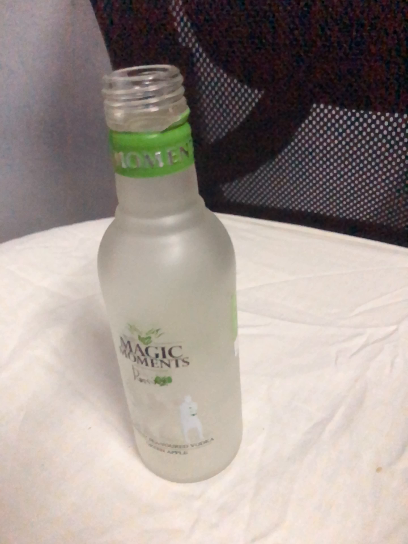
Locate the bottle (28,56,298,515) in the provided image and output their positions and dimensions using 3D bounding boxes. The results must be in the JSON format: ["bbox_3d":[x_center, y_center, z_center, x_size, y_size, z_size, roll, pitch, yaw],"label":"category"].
[{"bbox_3d":[-0.004,0.014,0.175,0.060,0.169,0.050,10,37,21],"label":"bottle"}]
